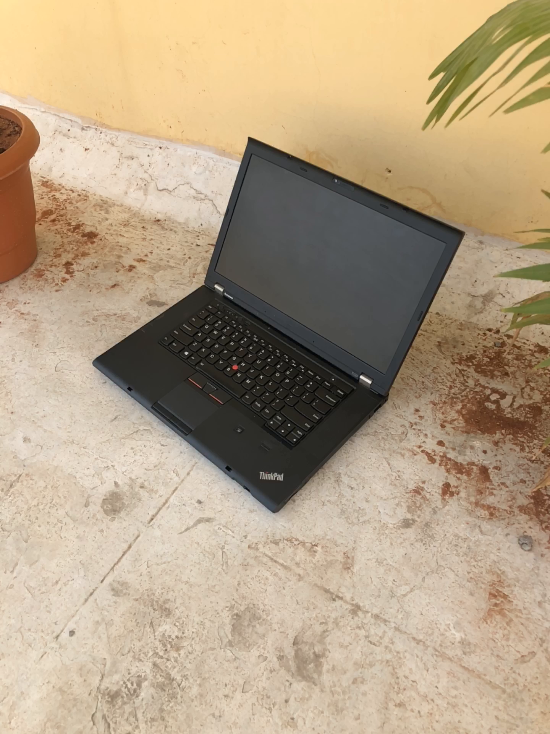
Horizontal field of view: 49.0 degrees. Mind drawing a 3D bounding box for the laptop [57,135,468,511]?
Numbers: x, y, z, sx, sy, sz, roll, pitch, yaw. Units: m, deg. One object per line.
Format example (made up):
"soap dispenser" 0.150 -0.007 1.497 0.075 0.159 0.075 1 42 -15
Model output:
"laptop" -0.015 -0.088 0.817 0.361 0.208 0.352 34 57 28
